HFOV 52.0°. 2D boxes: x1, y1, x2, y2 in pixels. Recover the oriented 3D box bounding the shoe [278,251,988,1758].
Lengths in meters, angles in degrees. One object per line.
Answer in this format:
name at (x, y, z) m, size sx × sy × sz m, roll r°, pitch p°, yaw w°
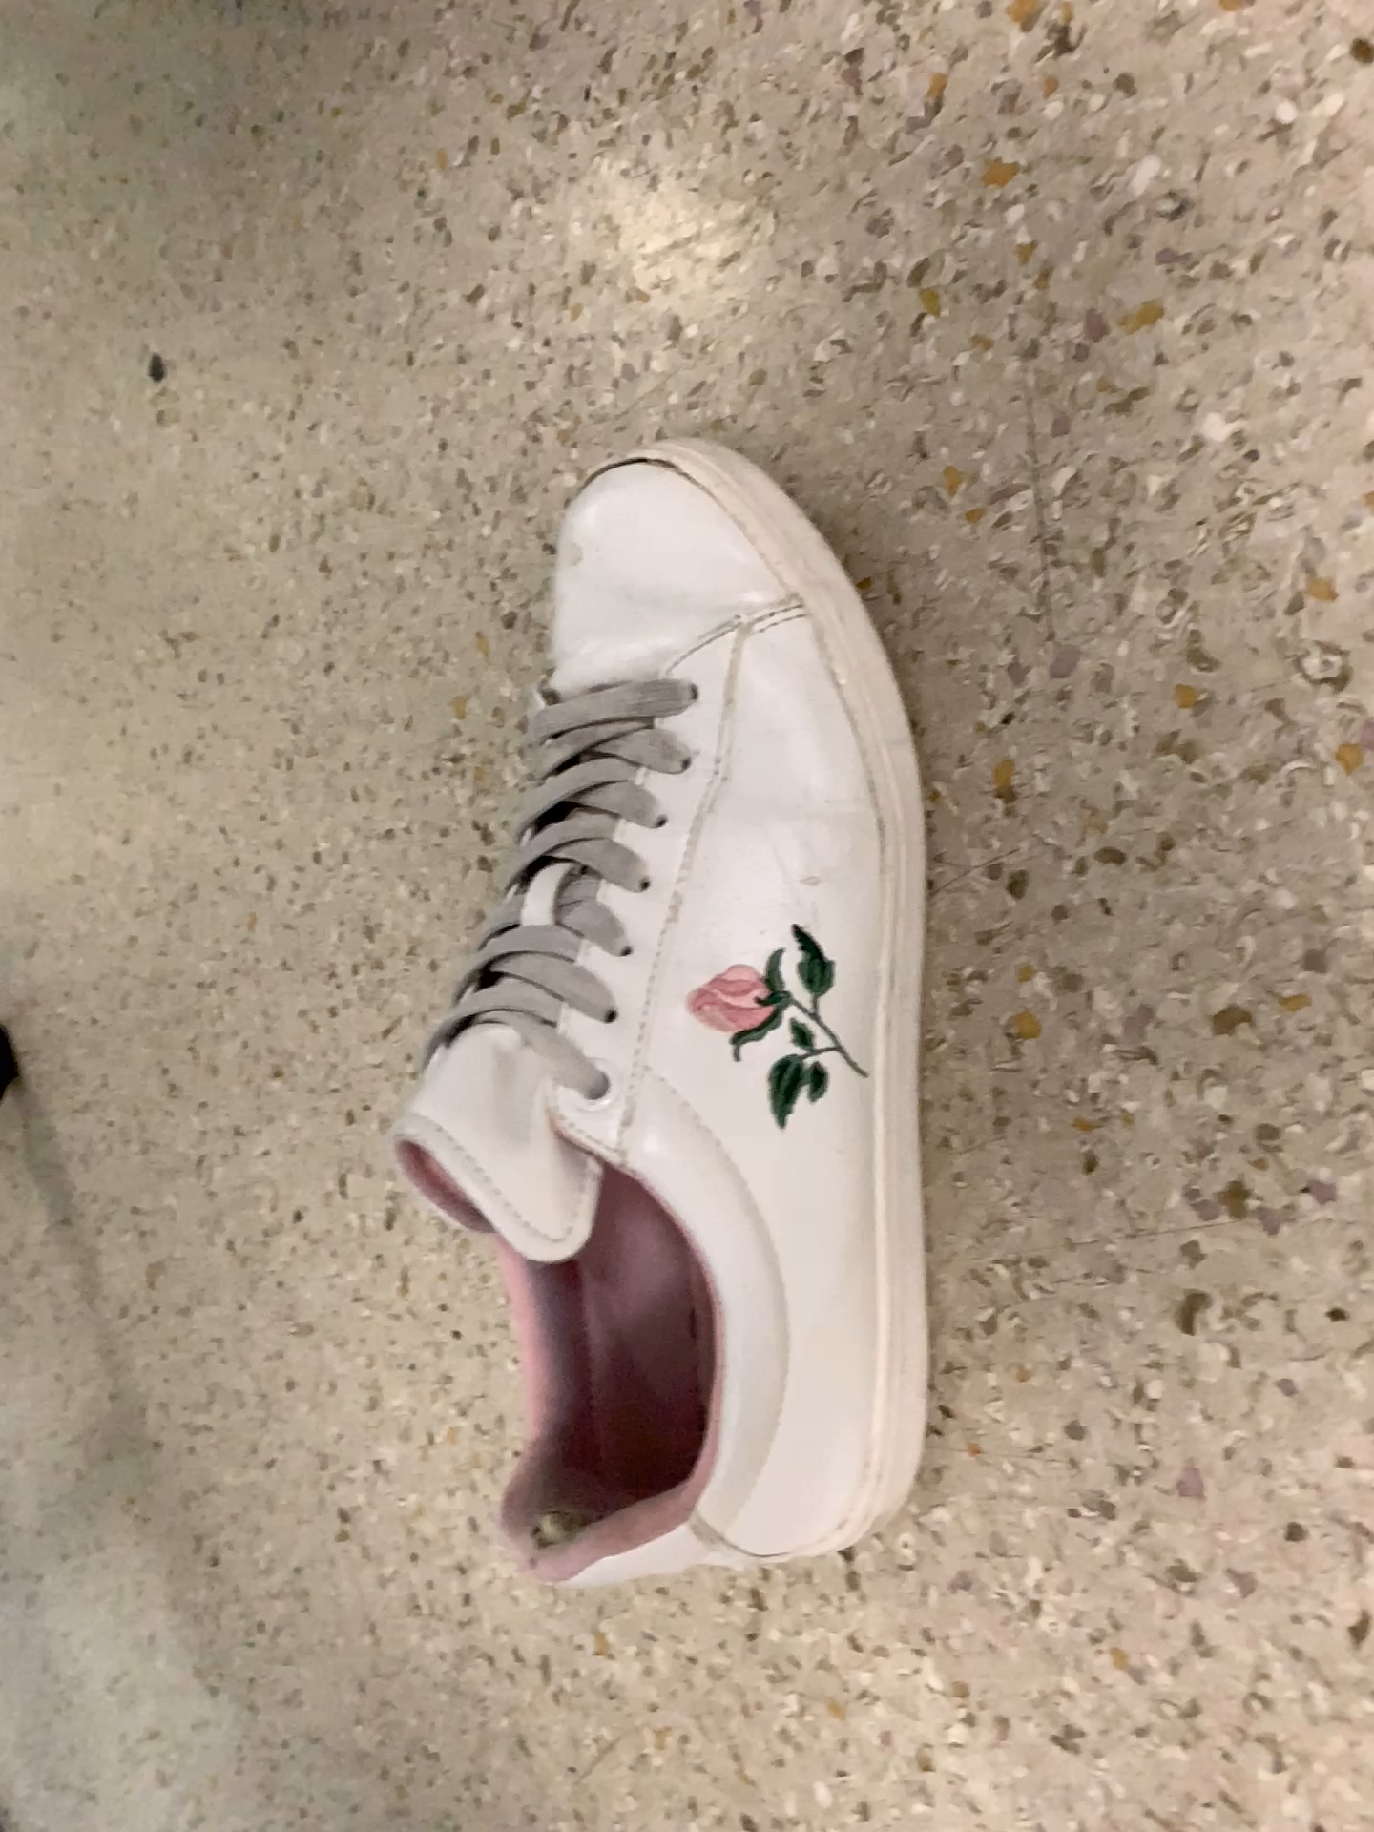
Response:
shoe at (-0.014, 0.015, 0.305) m, size 0.099 × 0.092 × 0.255 m, roll -7°, pitch 87°, yaw 47°
